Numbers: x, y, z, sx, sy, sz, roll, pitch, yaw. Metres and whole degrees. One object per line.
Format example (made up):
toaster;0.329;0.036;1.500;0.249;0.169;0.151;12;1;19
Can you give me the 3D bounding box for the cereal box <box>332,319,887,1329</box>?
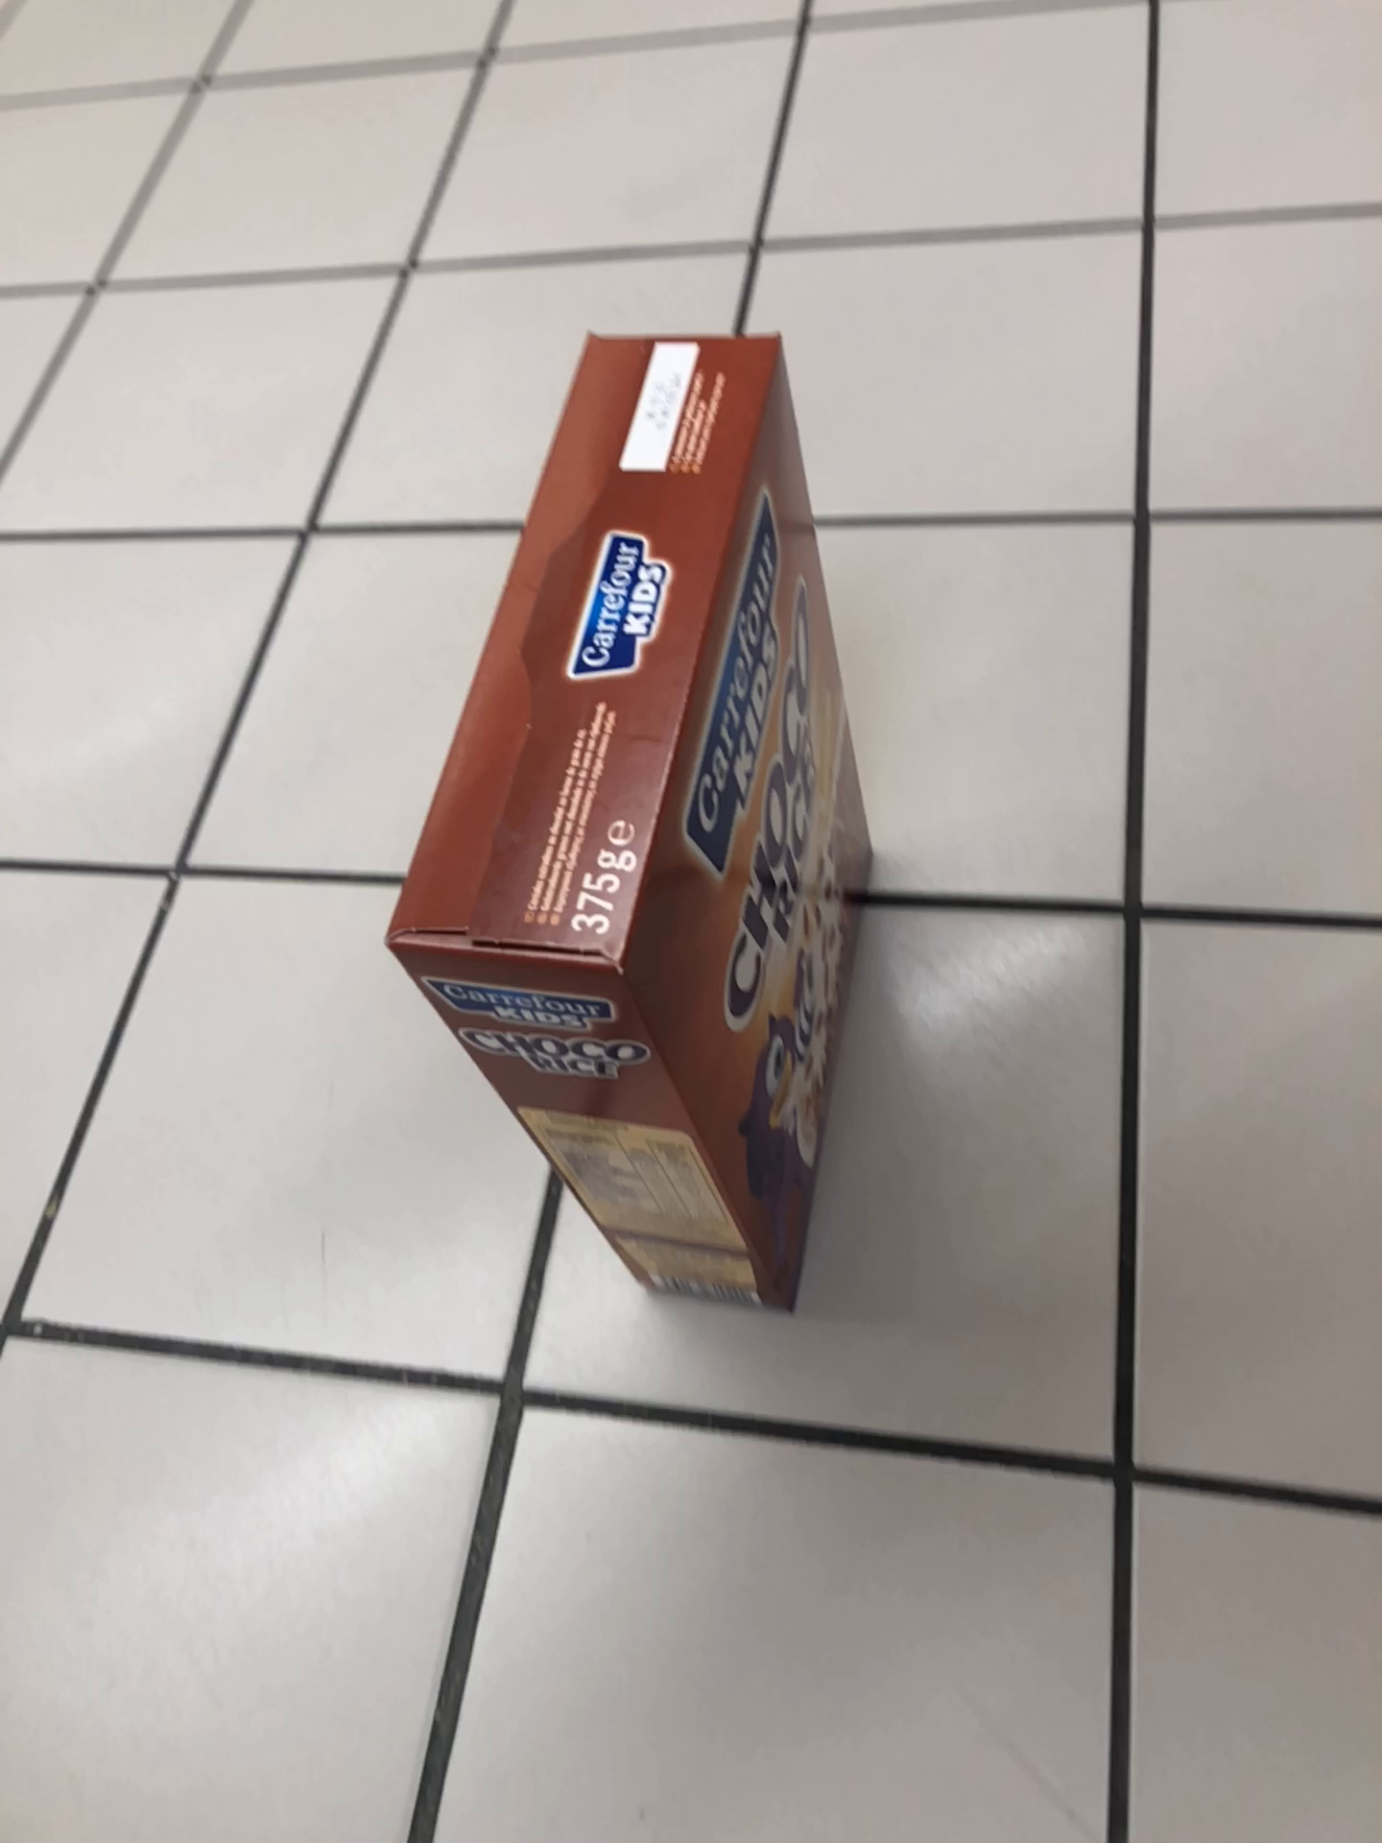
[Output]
cereal box;0.001;-0.014;0.459;0.070;0.239;0.201;5;61;15
